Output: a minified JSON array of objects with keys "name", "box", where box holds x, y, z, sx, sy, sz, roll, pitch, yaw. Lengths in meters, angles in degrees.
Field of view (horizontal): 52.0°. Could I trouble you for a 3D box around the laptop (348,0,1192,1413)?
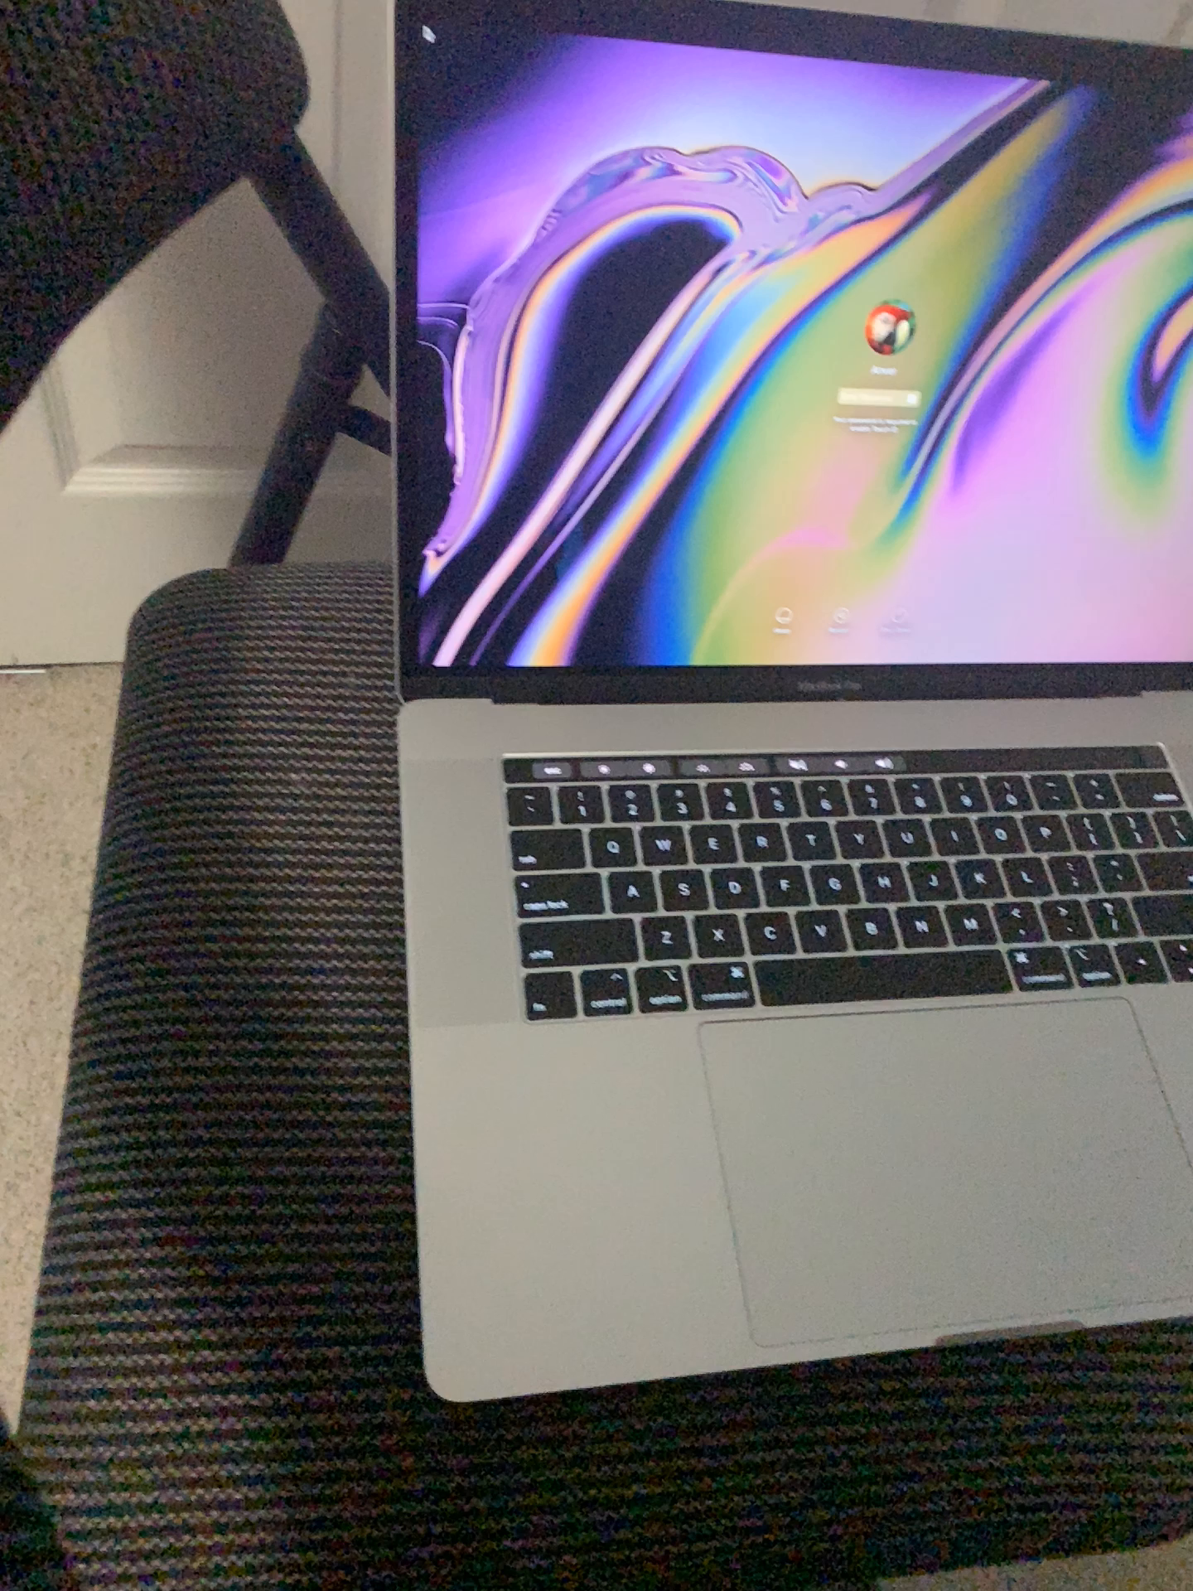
[{"name":"laptop","box":[0.104,-0.038,0.372,0.342,0.195,0.353,-1,58,-12]}]
